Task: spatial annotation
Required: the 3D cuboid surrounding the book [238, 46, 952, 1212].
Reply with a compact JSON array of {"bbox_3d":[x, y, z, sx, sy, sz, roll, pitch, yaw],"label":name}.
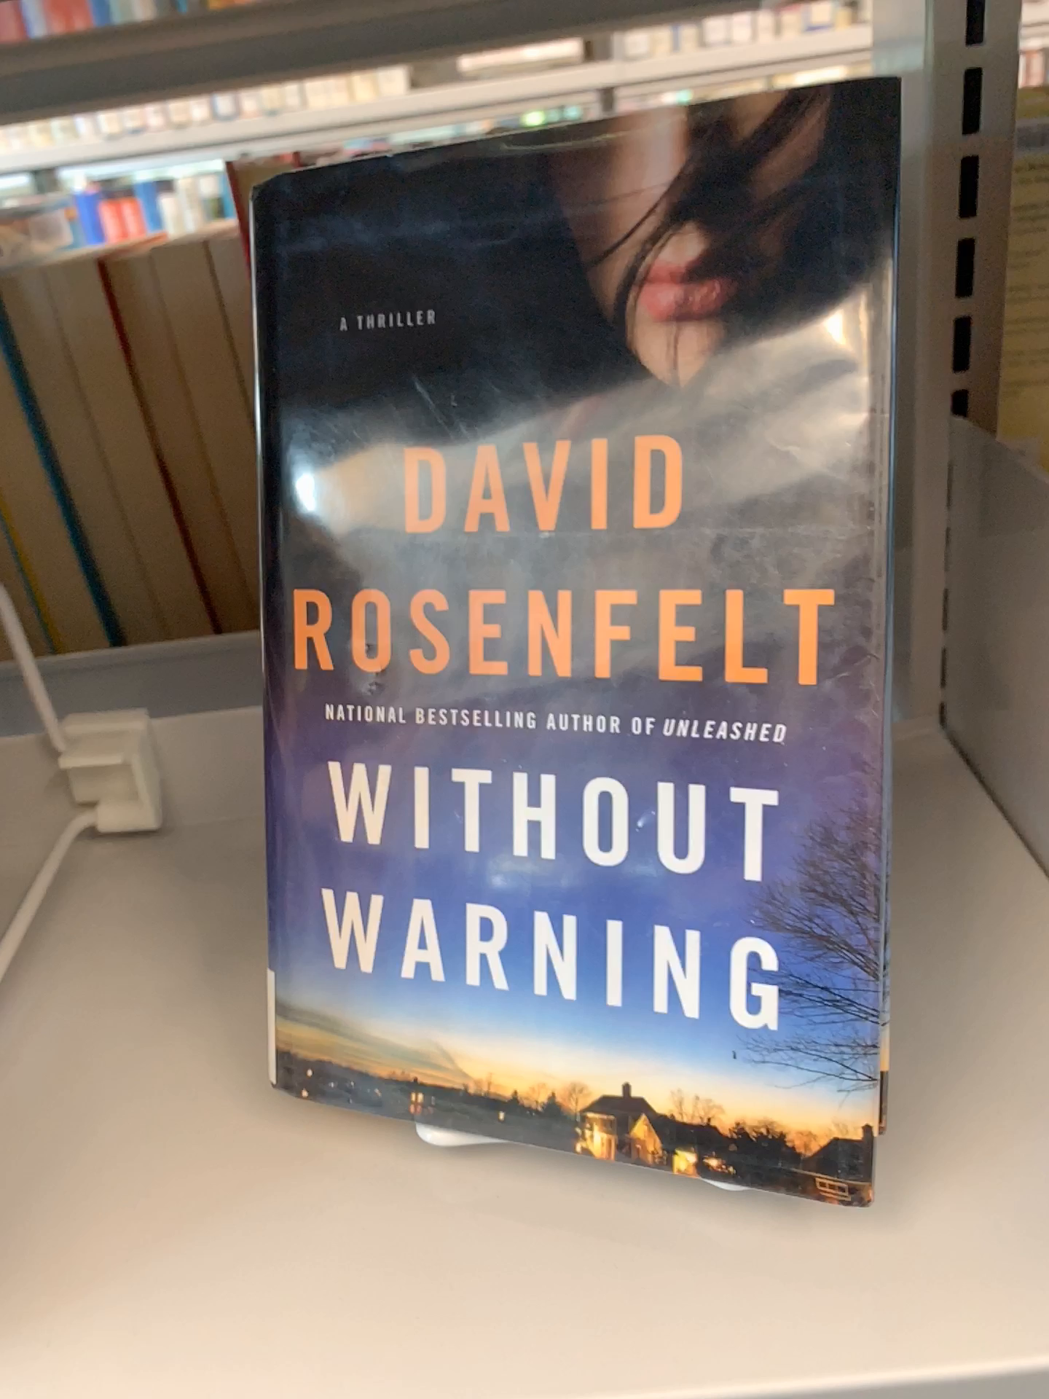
[{"bbox_3d":[0.012,-0.012,0.261,0.157,0.230,0.035,3,8,21],"label":"book"}]
